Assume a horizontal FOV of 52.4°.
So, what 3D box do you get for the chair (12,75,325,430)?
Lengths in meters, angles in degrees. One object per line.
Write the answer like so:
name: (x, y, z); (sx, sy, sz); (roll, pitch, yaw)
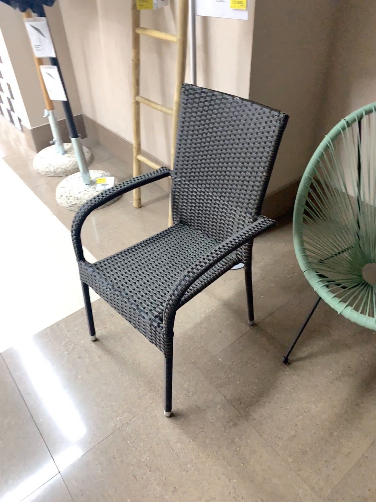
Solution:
chair: (-0.041, -0.014, 1.431); (0.681, 0.955, 0.622); (-33, 49, -31)
